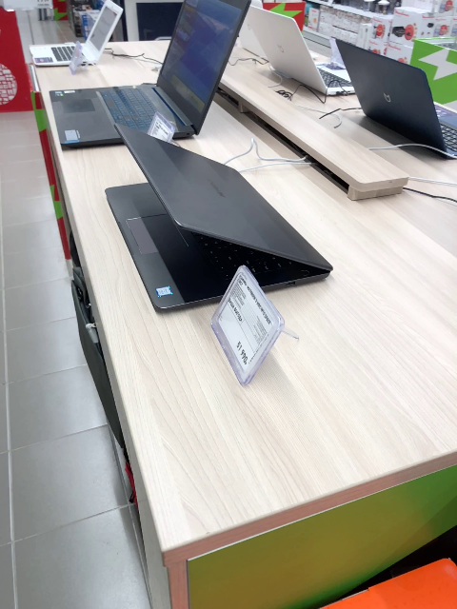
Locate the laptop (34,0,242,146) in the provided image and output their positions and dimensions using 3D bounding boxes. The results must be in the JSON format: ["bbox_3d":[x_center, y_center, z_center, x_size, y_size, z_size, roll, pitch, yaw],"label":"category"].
[{"bbox_3d":[-0.208,-0.559,1.128,0.377,0.230,0.350,-13,40,-17],"label":"laptop"}]

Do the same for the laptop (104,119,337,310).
[{"bbox_3d":[-0.036,-0.155,0.728,0.221,0.099,0.346,-13,39,-16],"label":"laptop"}]
